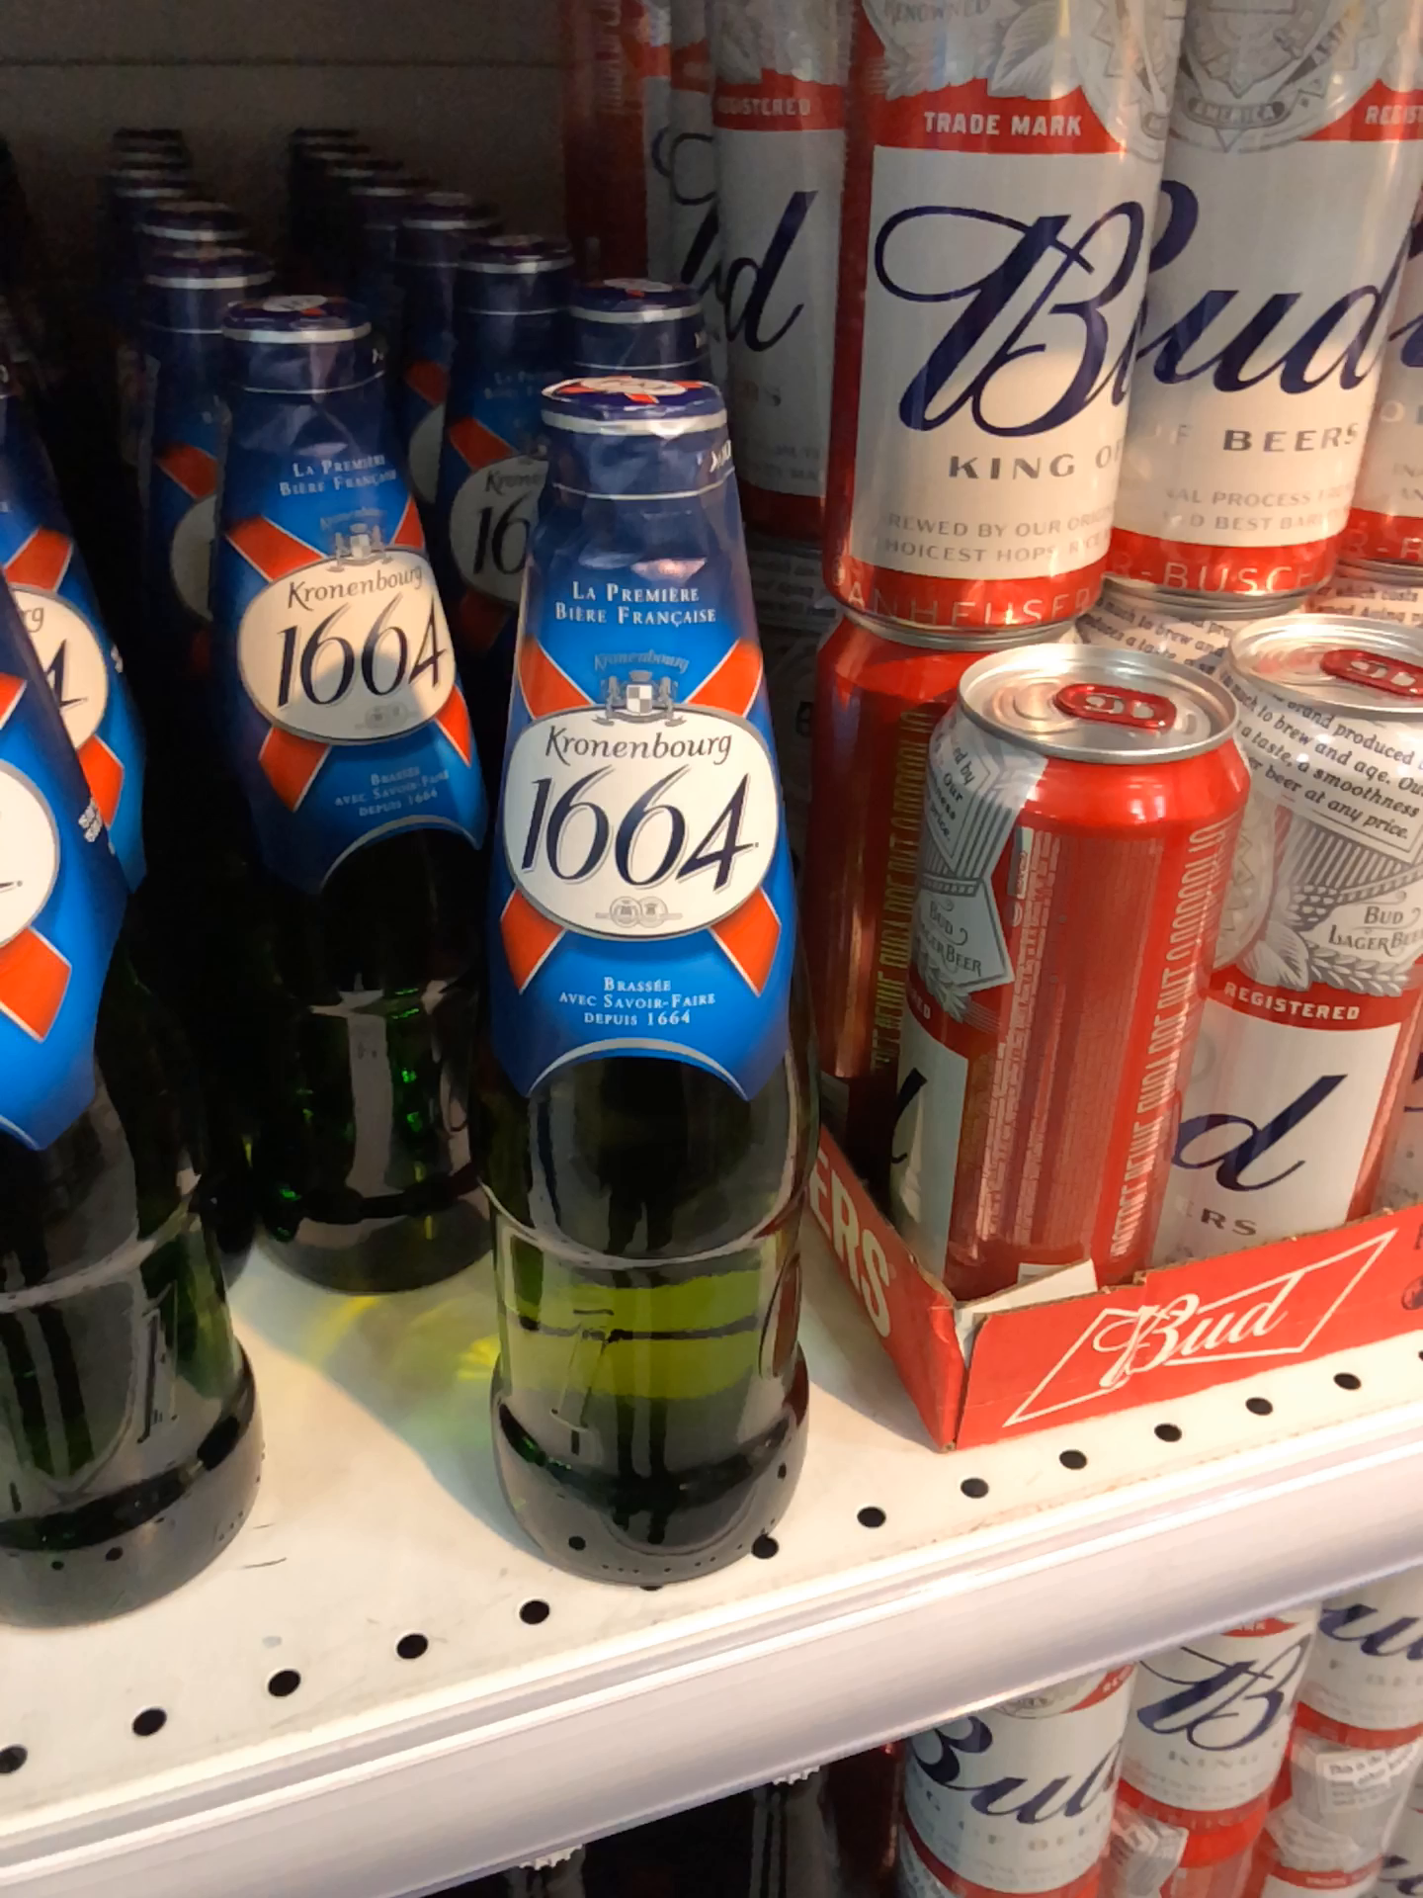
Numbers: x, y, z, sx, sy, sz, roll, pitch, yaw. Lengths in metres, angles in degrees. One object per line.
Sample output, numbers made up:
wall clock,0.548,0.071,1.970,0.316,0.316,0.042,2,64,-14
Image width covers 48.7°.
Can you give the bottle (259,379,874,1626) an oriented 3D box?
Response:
bottle,-0.017,0.017,0.294,0.080,0.219,0.080,0,30,0
